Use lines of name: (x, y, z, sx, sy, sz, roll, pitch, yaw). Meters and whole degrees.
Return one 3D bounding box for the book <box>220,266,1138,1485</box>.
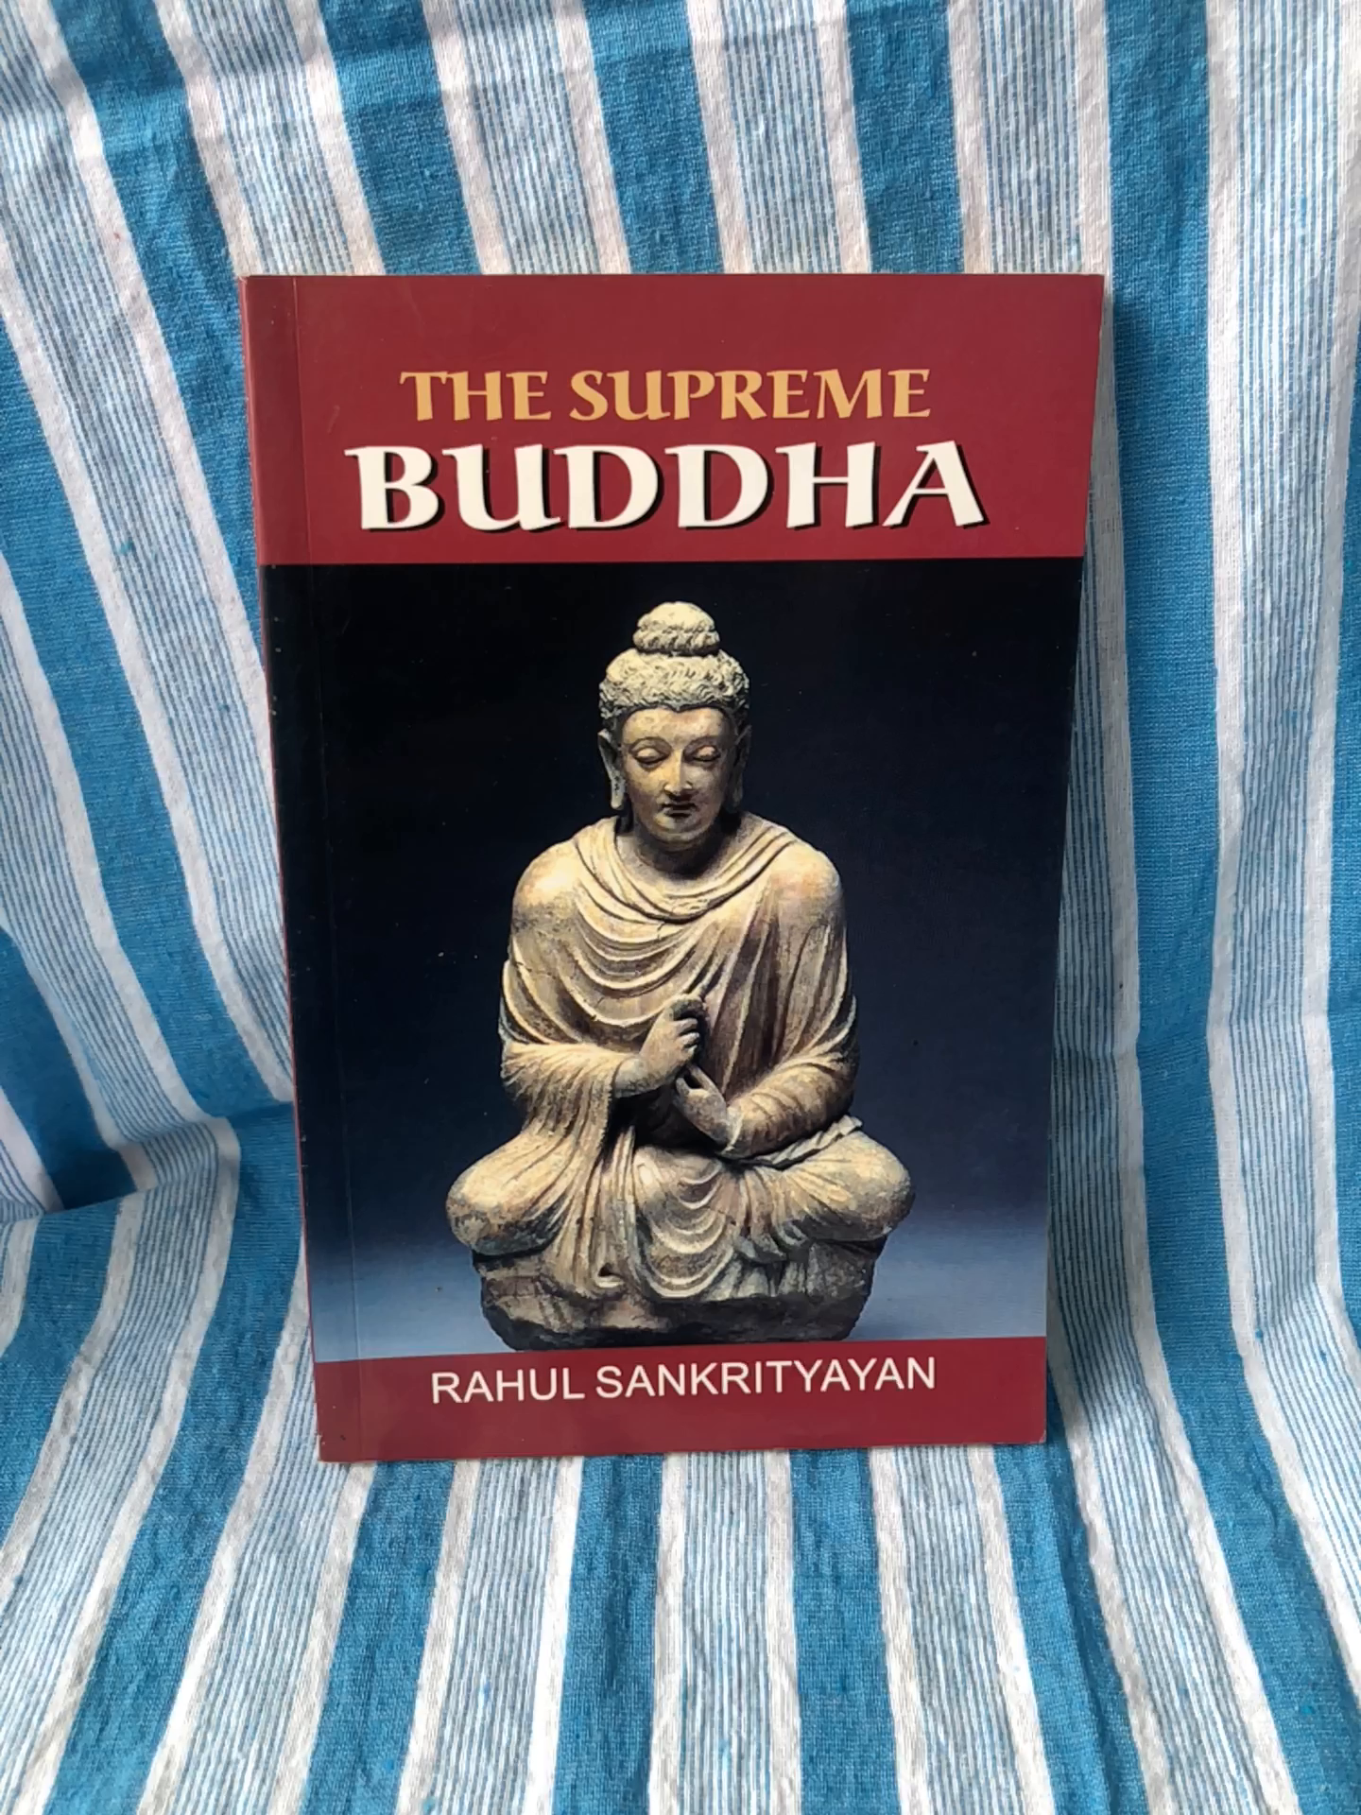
book: (0.001, 0.000, 0.280, 0.150, 0.219, 0.020, -1, 12, -2)
